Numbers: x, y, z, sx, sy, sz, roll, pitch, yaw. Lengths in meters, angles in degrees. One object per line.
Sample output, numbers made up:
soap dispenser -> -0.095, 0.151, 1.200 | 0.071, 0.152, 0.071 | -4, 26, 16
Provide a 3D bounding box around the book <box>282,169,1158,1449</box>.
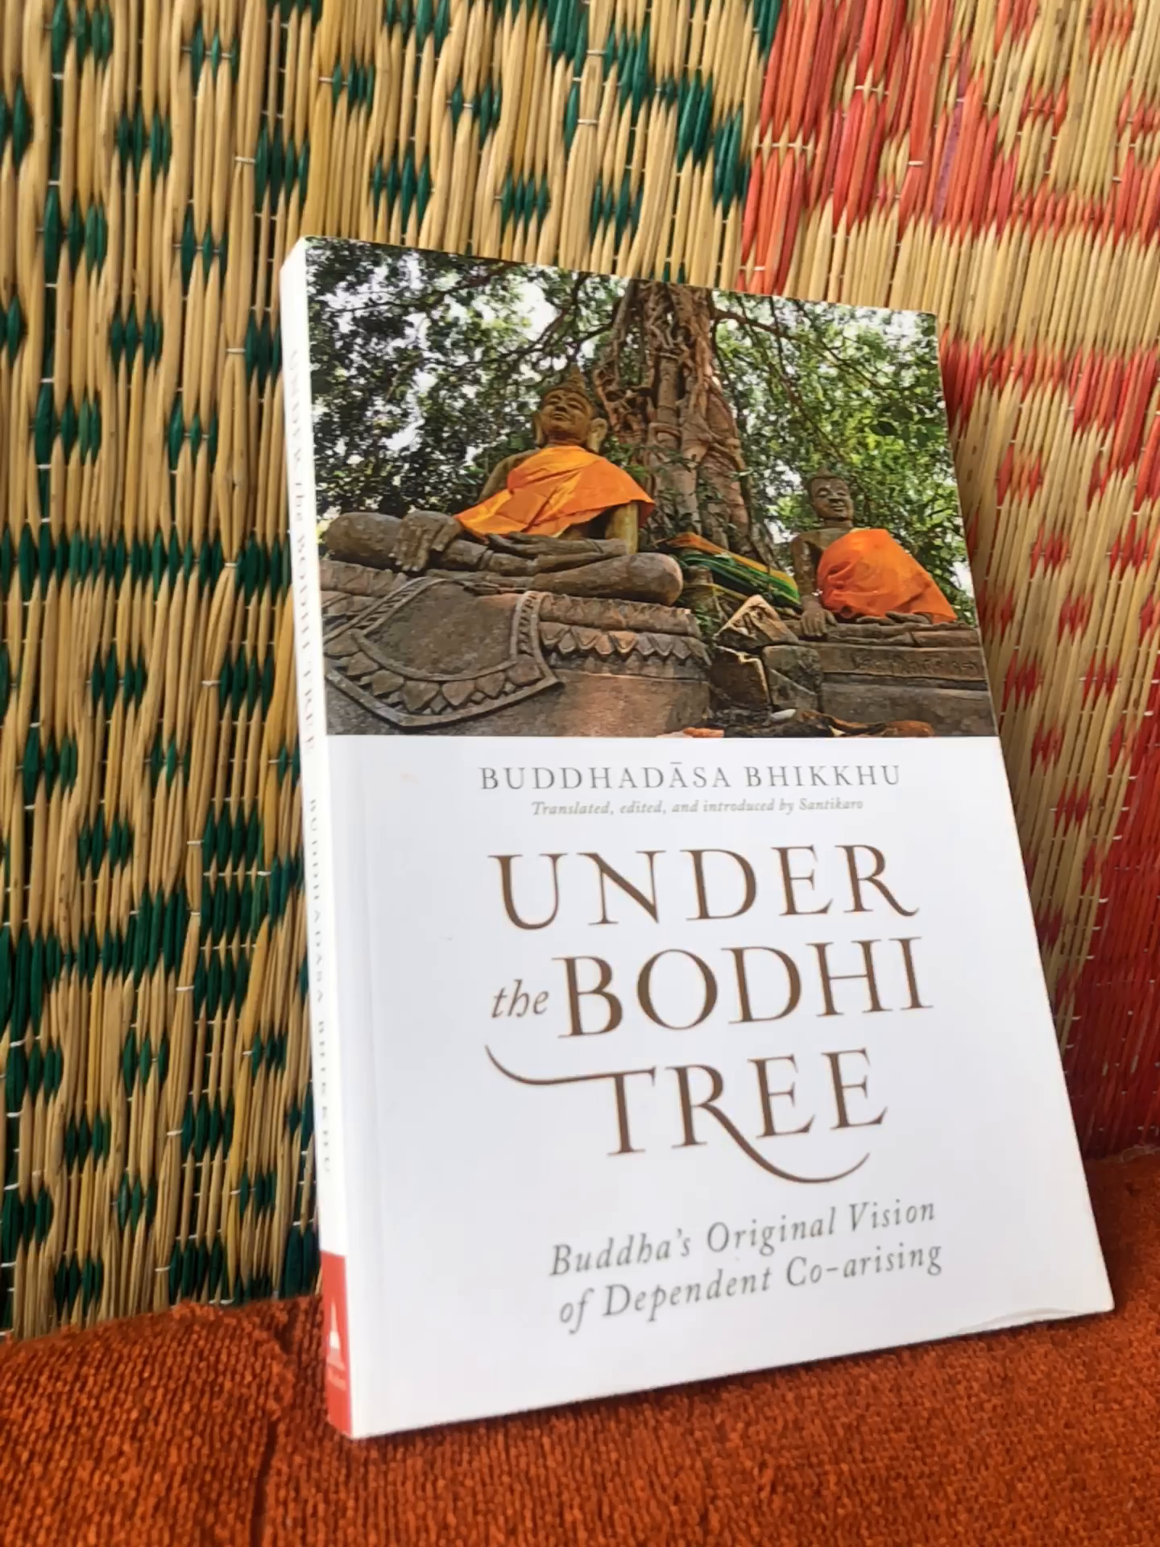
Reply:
book -> 0.025, -0.004, 0.268 | 0.160, 0.231, 0.030 | -1, -13, -20
